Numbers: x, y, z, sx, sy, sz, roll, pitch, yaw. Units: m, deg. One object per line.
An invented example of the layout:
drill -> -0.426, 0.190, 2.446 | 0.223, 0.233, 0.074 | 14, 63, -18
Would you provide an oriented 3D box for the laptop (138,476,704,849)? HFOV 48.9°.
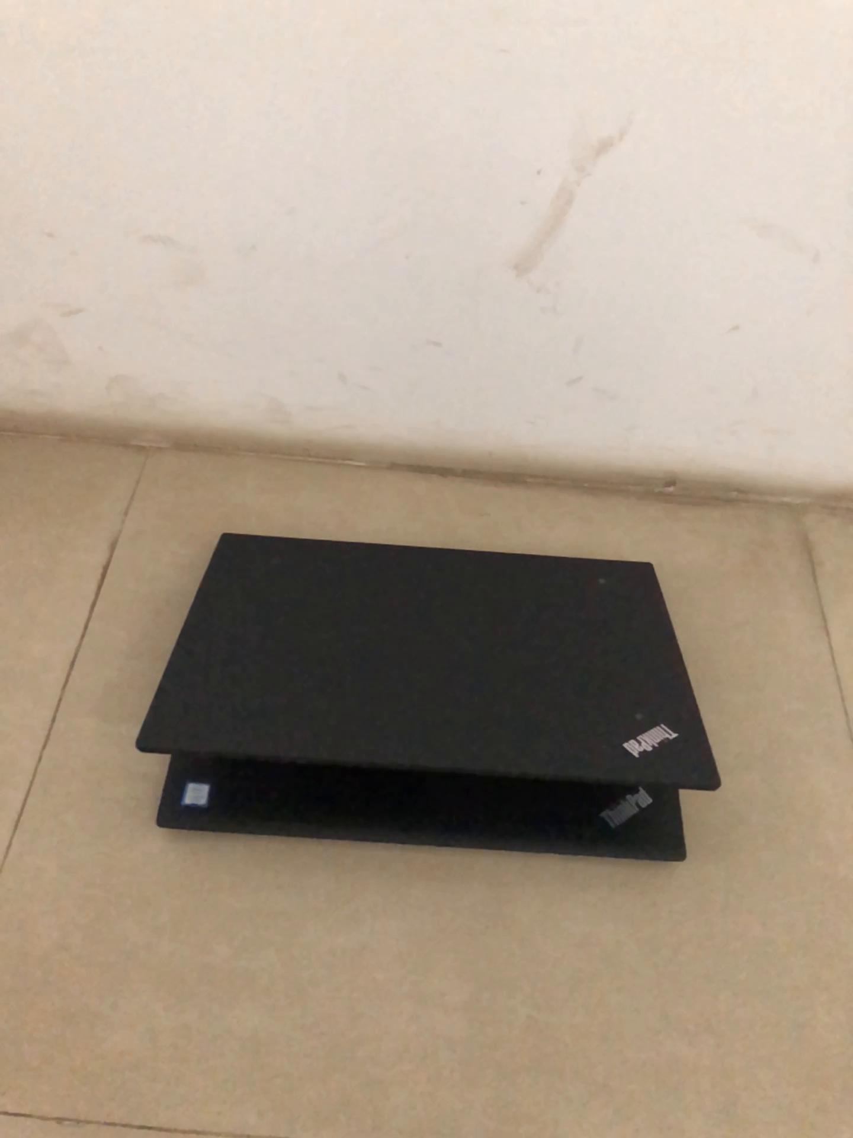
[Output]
laptop -> -0.001, 0.059, 0.673 | 0.349, 0.071, 0.237 | 3, 55, 0
